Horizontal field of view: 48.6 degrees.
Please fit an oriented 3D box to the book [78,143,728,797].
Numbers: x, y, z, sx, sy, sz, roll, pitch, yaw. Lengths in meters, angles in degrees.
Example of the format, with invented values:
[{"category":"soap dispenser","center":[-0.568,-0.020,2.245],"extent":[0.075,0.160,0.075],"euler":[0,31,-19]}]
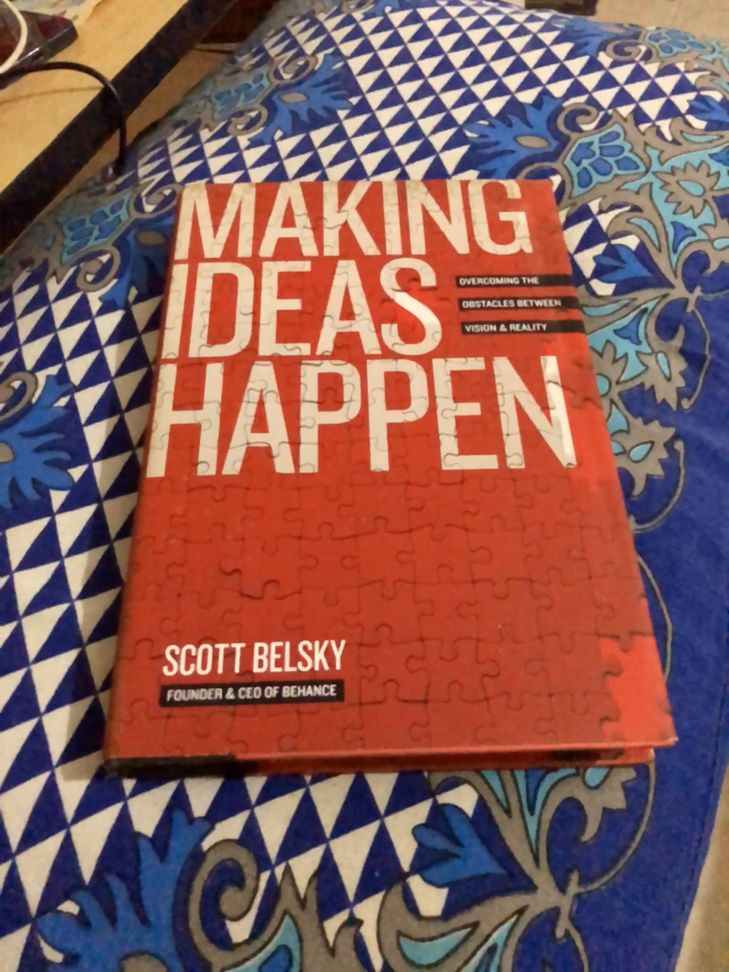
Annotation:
[{"category":"book","center":[0.006,-0.030,0.279],"extent":[0.160,0.030,0.251],"euler":[-2,56,-1]}]
